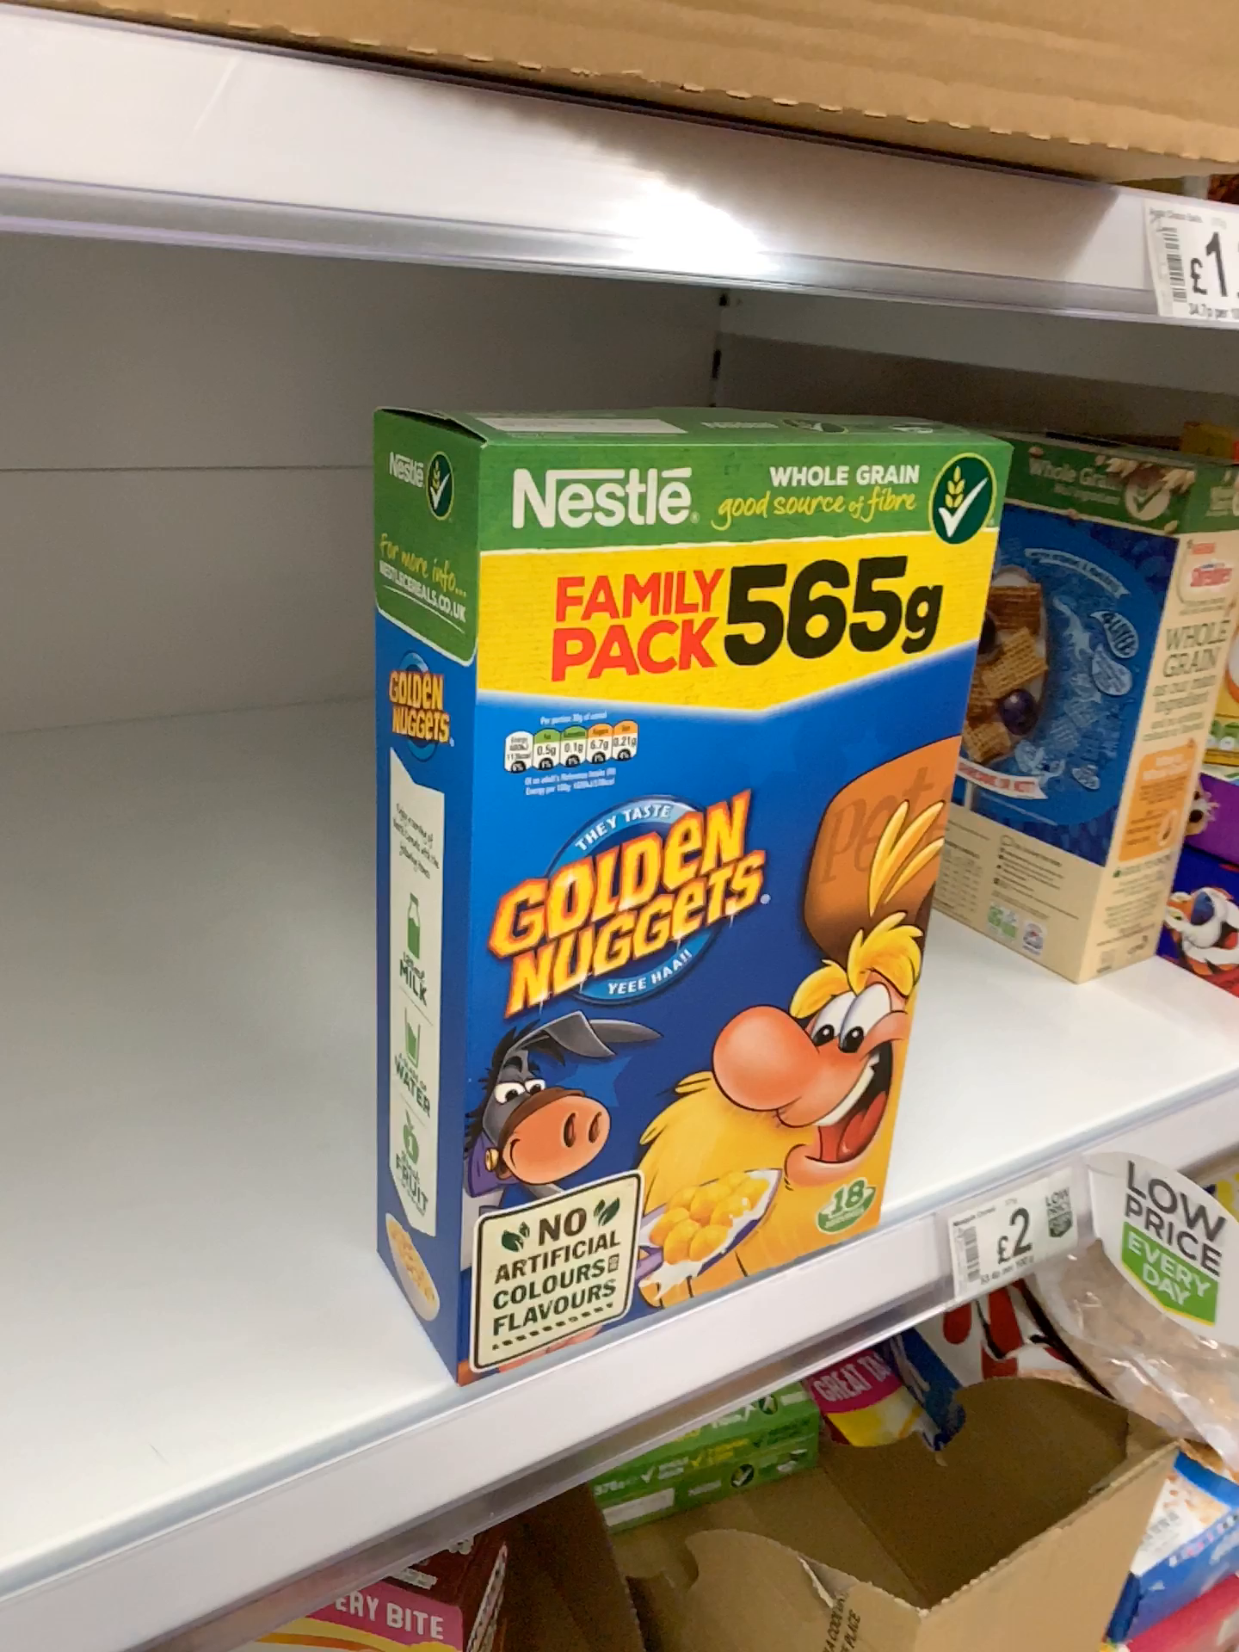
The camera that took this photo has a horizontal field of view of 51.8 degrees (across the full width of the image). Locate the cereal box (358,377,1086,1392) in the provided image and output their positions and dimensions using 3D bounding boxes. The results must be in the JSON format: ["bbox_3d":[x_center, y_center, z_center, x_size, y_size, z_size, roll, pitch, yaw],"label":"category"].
[{"bbox_3d":[0.025,0.012,0.449,0.211,0.308,0.090,-9,26,-30],"label":"cereal box"}]
